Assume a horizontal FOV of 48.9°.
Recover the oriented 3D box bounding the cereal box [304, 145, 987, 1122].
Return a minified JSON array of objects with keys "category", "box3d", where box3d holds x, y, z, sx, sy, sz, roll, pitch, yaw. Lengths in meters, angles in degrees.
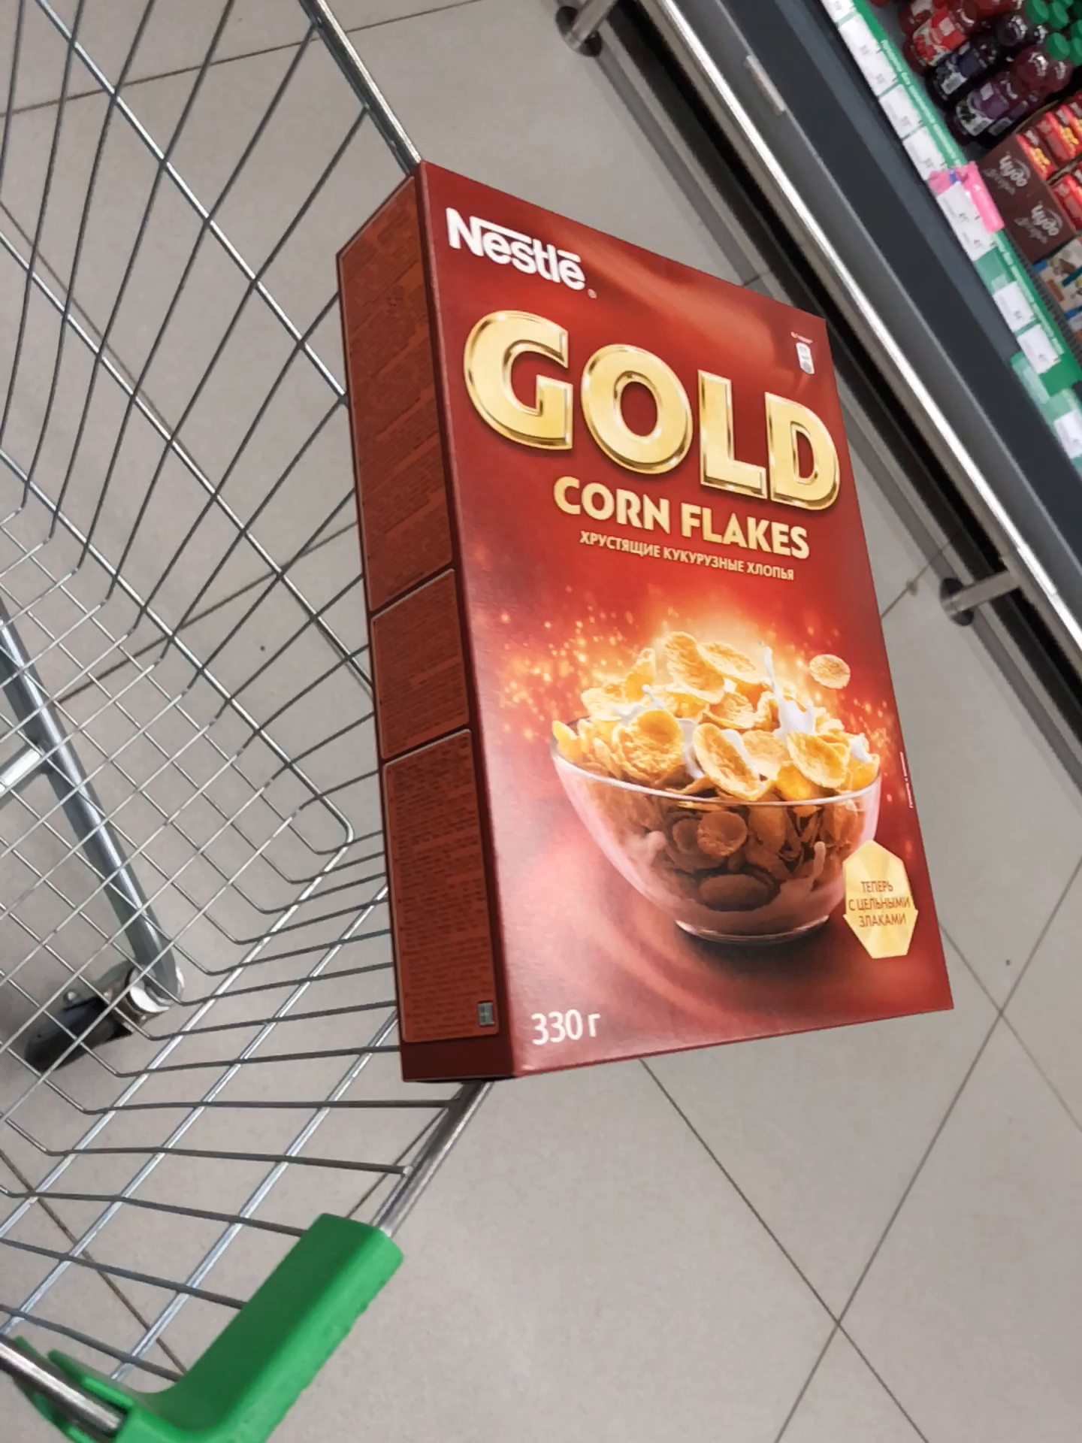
[{"category":"cereal box","box3d":[0.037,-0.024,0.408,0.211,0.060,0.280,4,73,-36]}]
